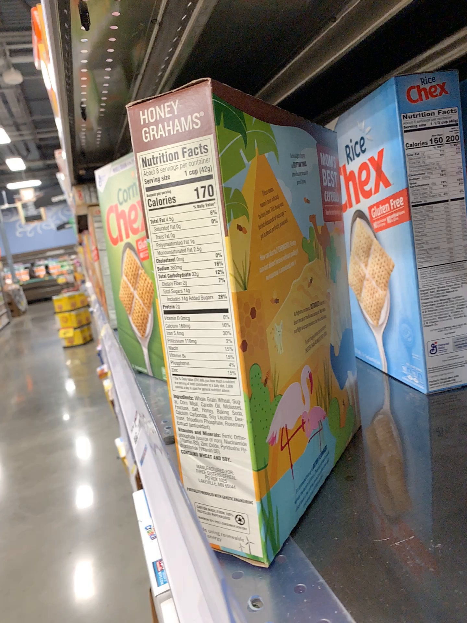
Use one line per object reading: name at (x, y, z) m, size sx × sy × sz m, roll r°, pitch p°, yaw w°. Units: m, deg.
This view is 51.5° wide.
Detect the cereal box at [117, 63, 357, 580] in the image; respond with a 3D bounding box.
cereal box at (0.025, -0.004, 0.337) m, size 0.050 × 0.259 × 0.200 m, roll -2°, pitch 9°, yaw 30°
